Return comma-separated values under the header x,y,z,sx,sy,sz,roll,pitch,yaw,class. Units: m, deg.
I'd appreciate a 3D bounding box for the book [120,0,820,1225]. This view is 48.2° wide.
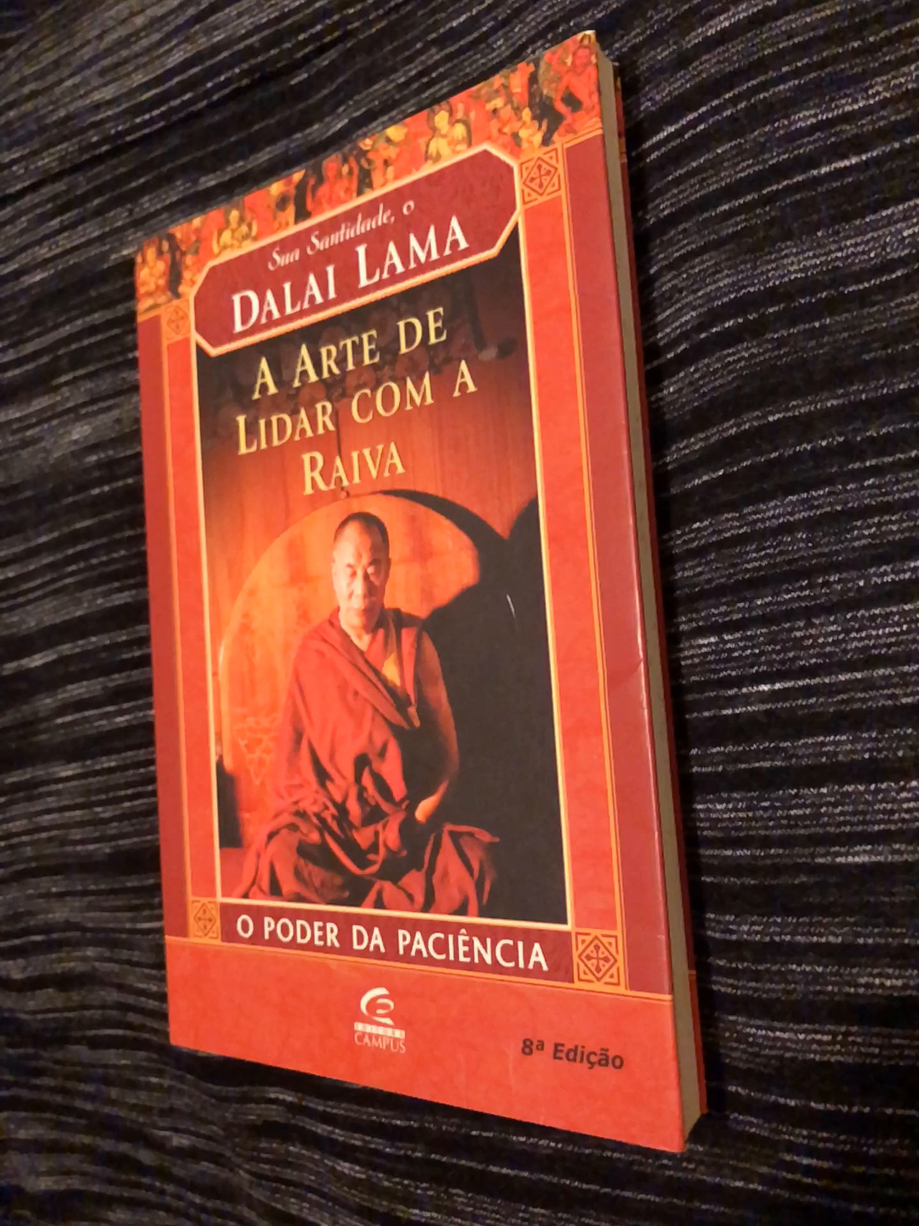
x,y,z,sx,sy,sz,roll,pitch,yaw,class
-0.011,-0.003,0.227,0.151,0.030,0.220,-7,83,34,book

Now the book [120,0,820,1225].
x,y,z,sx,sy,sz,roll,pitch,yaw,class
-0.011,-0.003,0.227,0.151,0.030,0.220,-7,83,34,book

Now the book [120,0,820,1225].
x,y,z,sx,sy,sz,roll,pitch,yaw,class
-0.011,-0.003,0.227,0.151,0.030,0.220,-7,83,34,book
